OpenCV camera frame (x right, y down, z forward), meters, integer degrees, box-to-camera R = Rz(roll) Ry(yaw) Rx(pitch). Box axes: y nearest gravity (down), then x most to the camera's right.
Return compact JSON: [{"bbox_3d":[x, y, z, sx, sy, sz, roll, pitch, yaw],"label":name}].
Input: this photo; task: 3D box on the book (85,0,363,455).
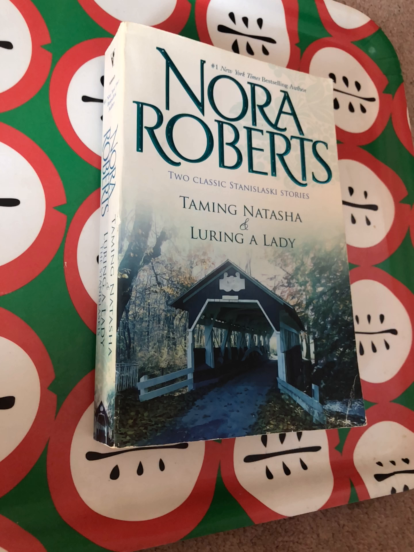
[{"bbox_3d":[0.011,-0.027,0.256,0.140,0.040,0.220,4,79,-24],"label":"book"}]
